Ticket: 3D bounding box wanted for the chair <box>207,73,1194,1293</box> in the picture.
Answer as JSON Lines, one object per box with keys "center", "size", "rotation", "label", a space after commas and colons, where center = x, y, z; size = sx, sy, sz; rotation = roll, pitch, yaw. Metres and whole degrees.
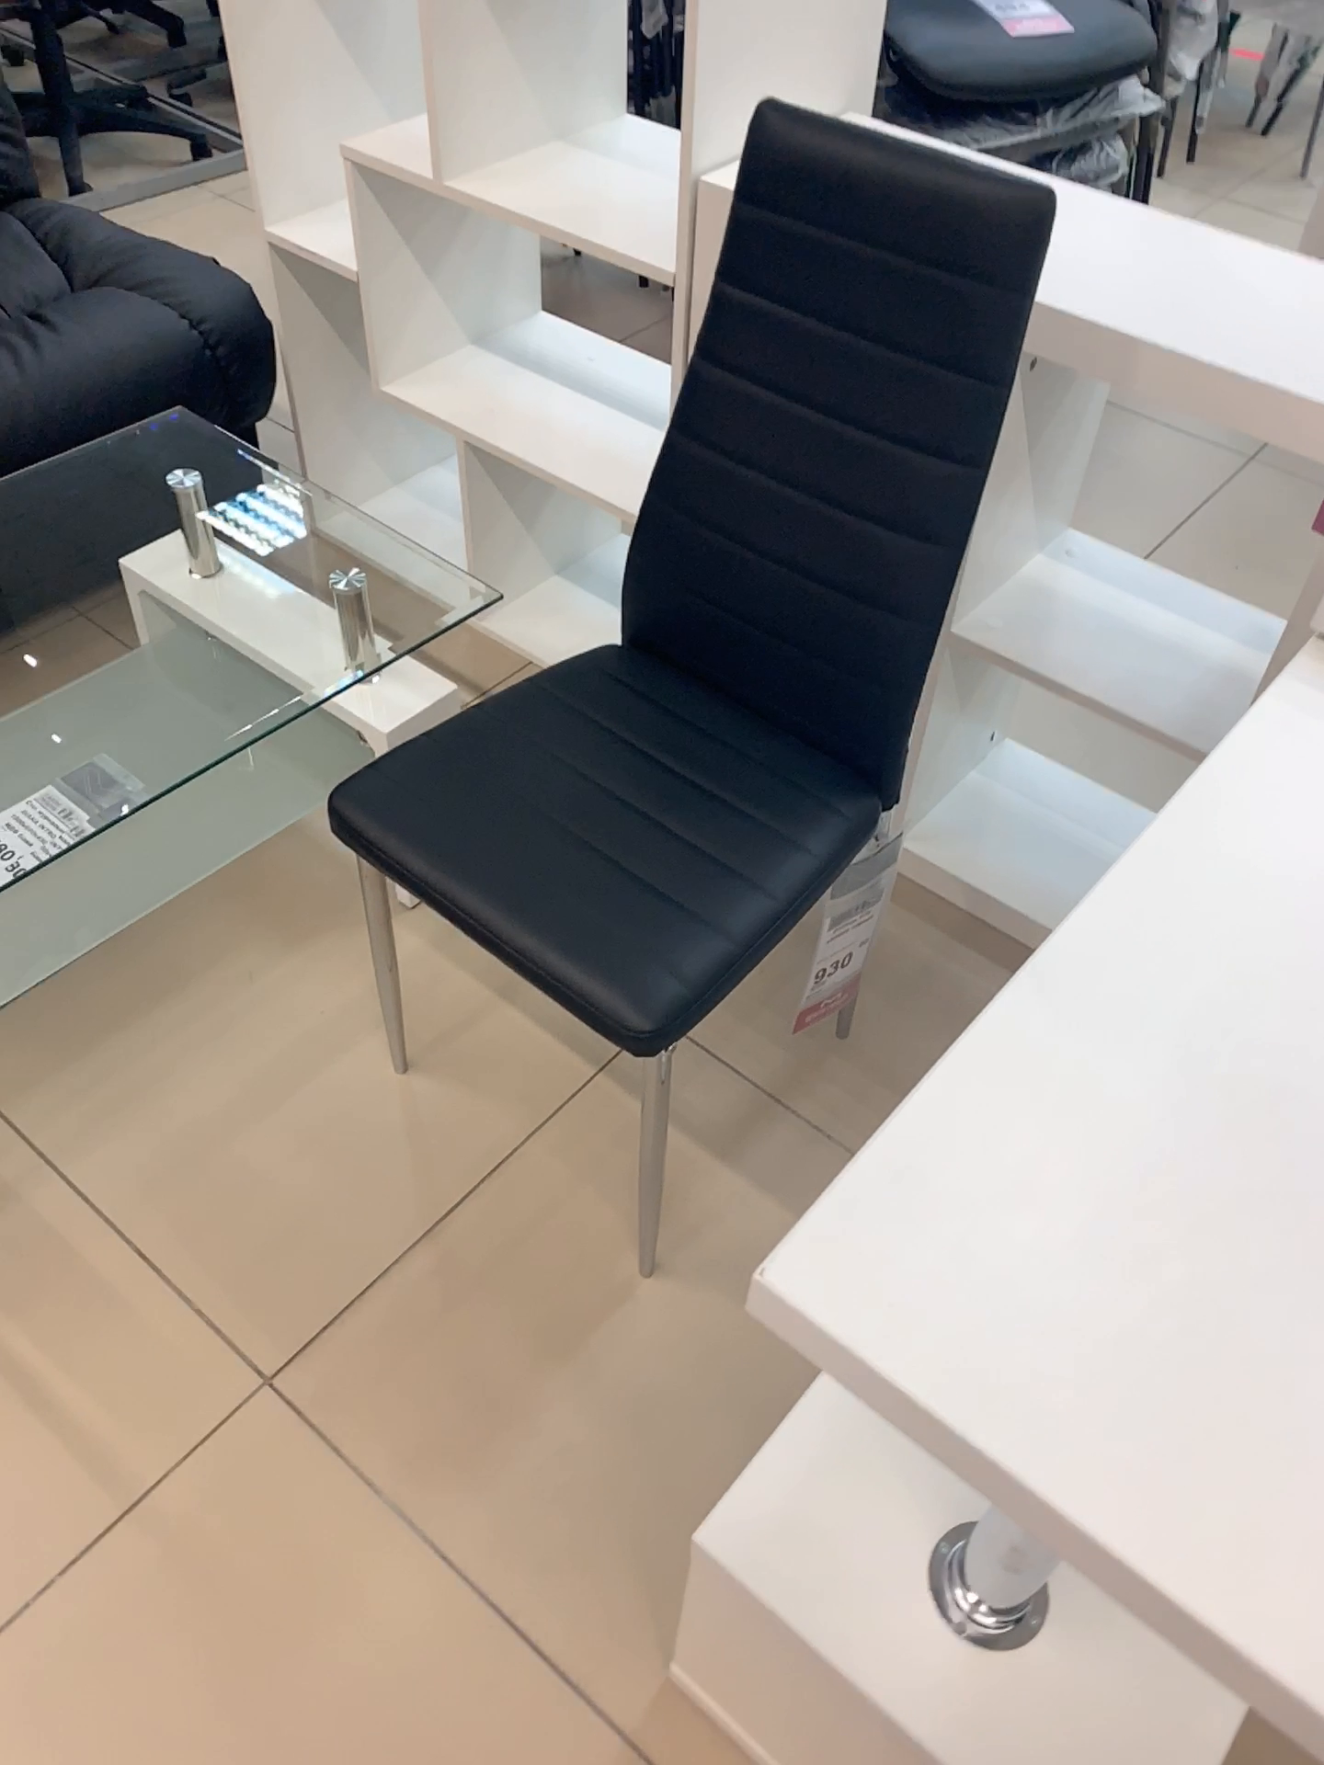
{"center": [0.039, -0.164, 1.314], "size": [0.441, 0.916, 0.601], "rotation": [33, 53, 27], "label": "chair"}
